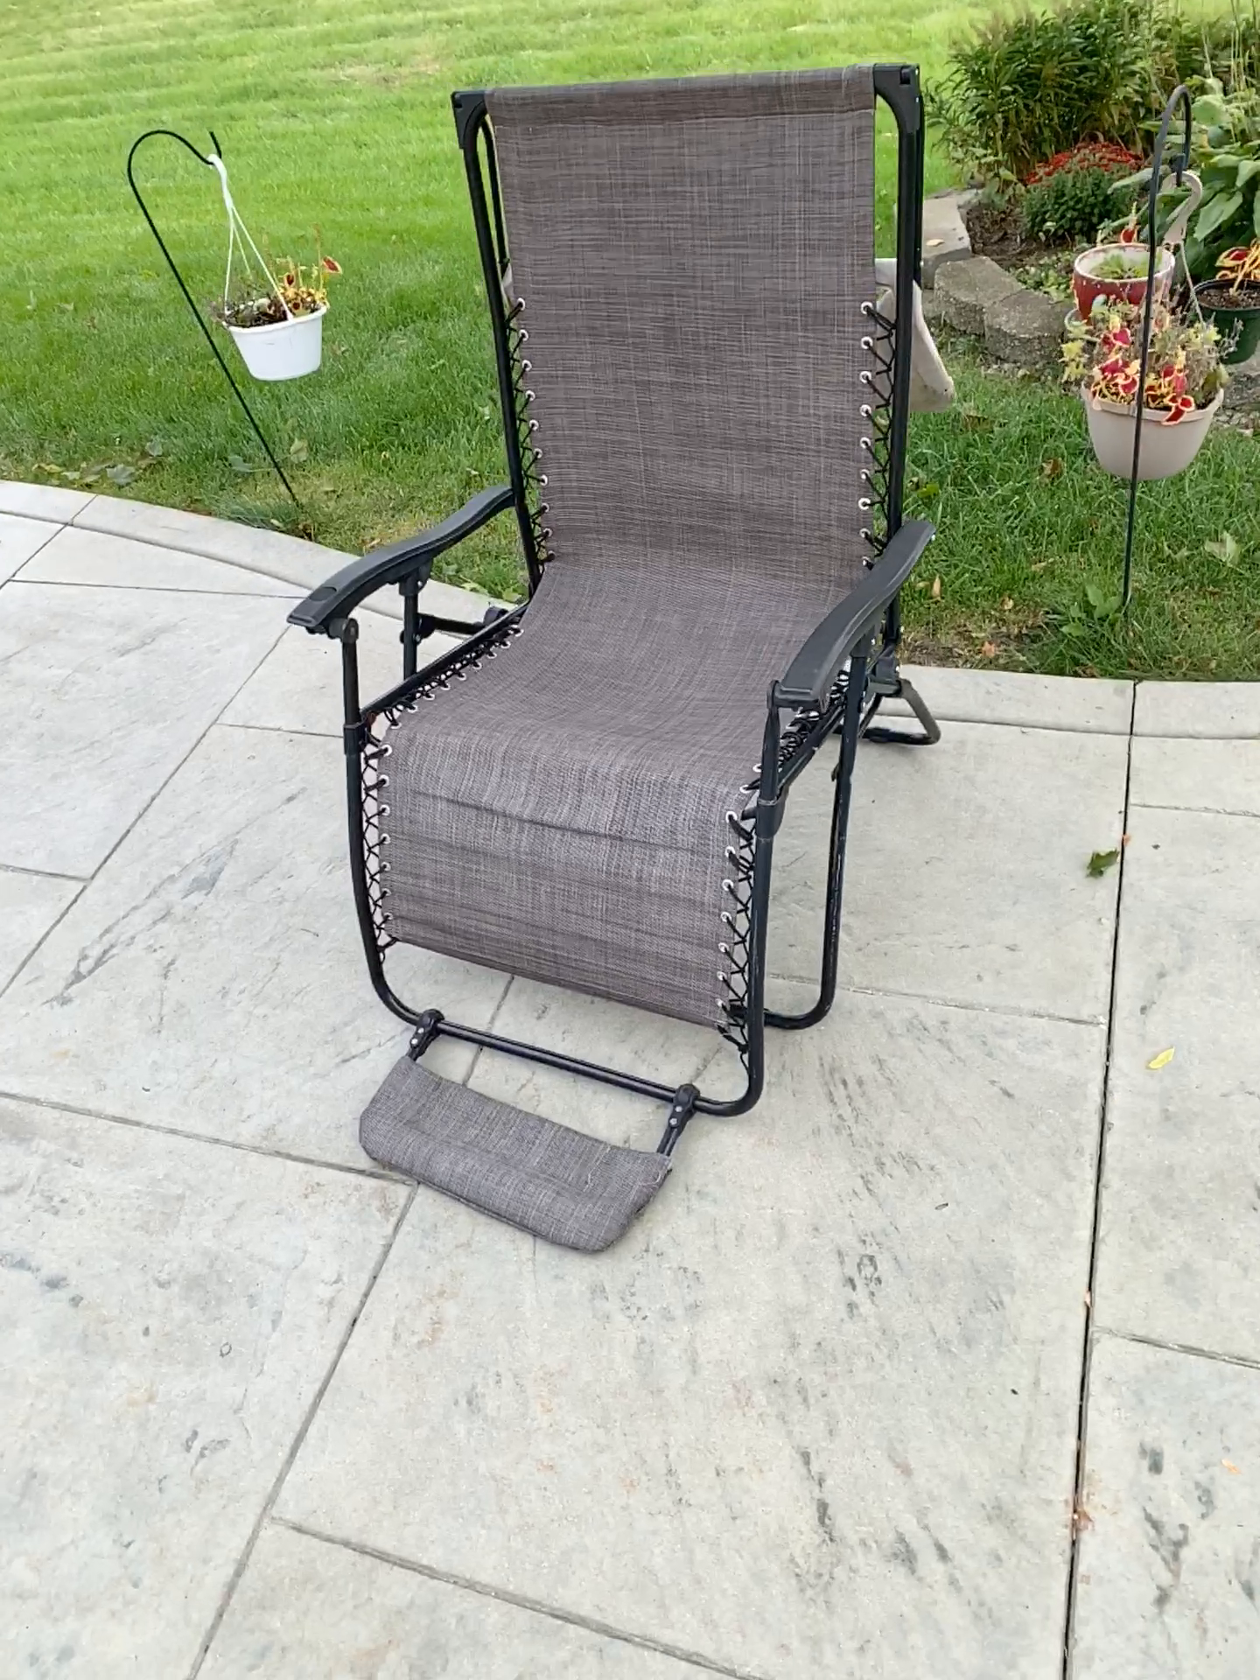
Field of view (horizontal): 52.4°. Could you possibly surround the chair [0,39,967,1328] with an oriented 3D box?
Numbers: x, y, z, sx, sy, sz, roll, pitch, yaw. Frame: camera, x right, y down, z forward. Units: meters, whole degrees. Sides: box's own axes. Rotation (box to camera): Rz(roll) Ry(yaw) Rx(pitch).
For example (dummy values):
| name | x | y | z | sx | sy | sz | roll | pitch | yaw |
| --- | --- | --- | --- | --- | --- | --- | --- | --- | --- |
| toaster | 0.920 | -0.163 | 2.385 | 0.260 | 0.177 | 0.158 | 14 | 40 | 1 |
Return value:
| name | x | y | z | sx | sy | sz | roll | pitch | yaw |
| --- | --- | --- | --- | --- | --- | --- | --- | --- | --- |
| chair | -0.087 | -0.248 | 1.681 | 0.743 | 1.056 | 1.152 | 12 | 49 | 24 |
